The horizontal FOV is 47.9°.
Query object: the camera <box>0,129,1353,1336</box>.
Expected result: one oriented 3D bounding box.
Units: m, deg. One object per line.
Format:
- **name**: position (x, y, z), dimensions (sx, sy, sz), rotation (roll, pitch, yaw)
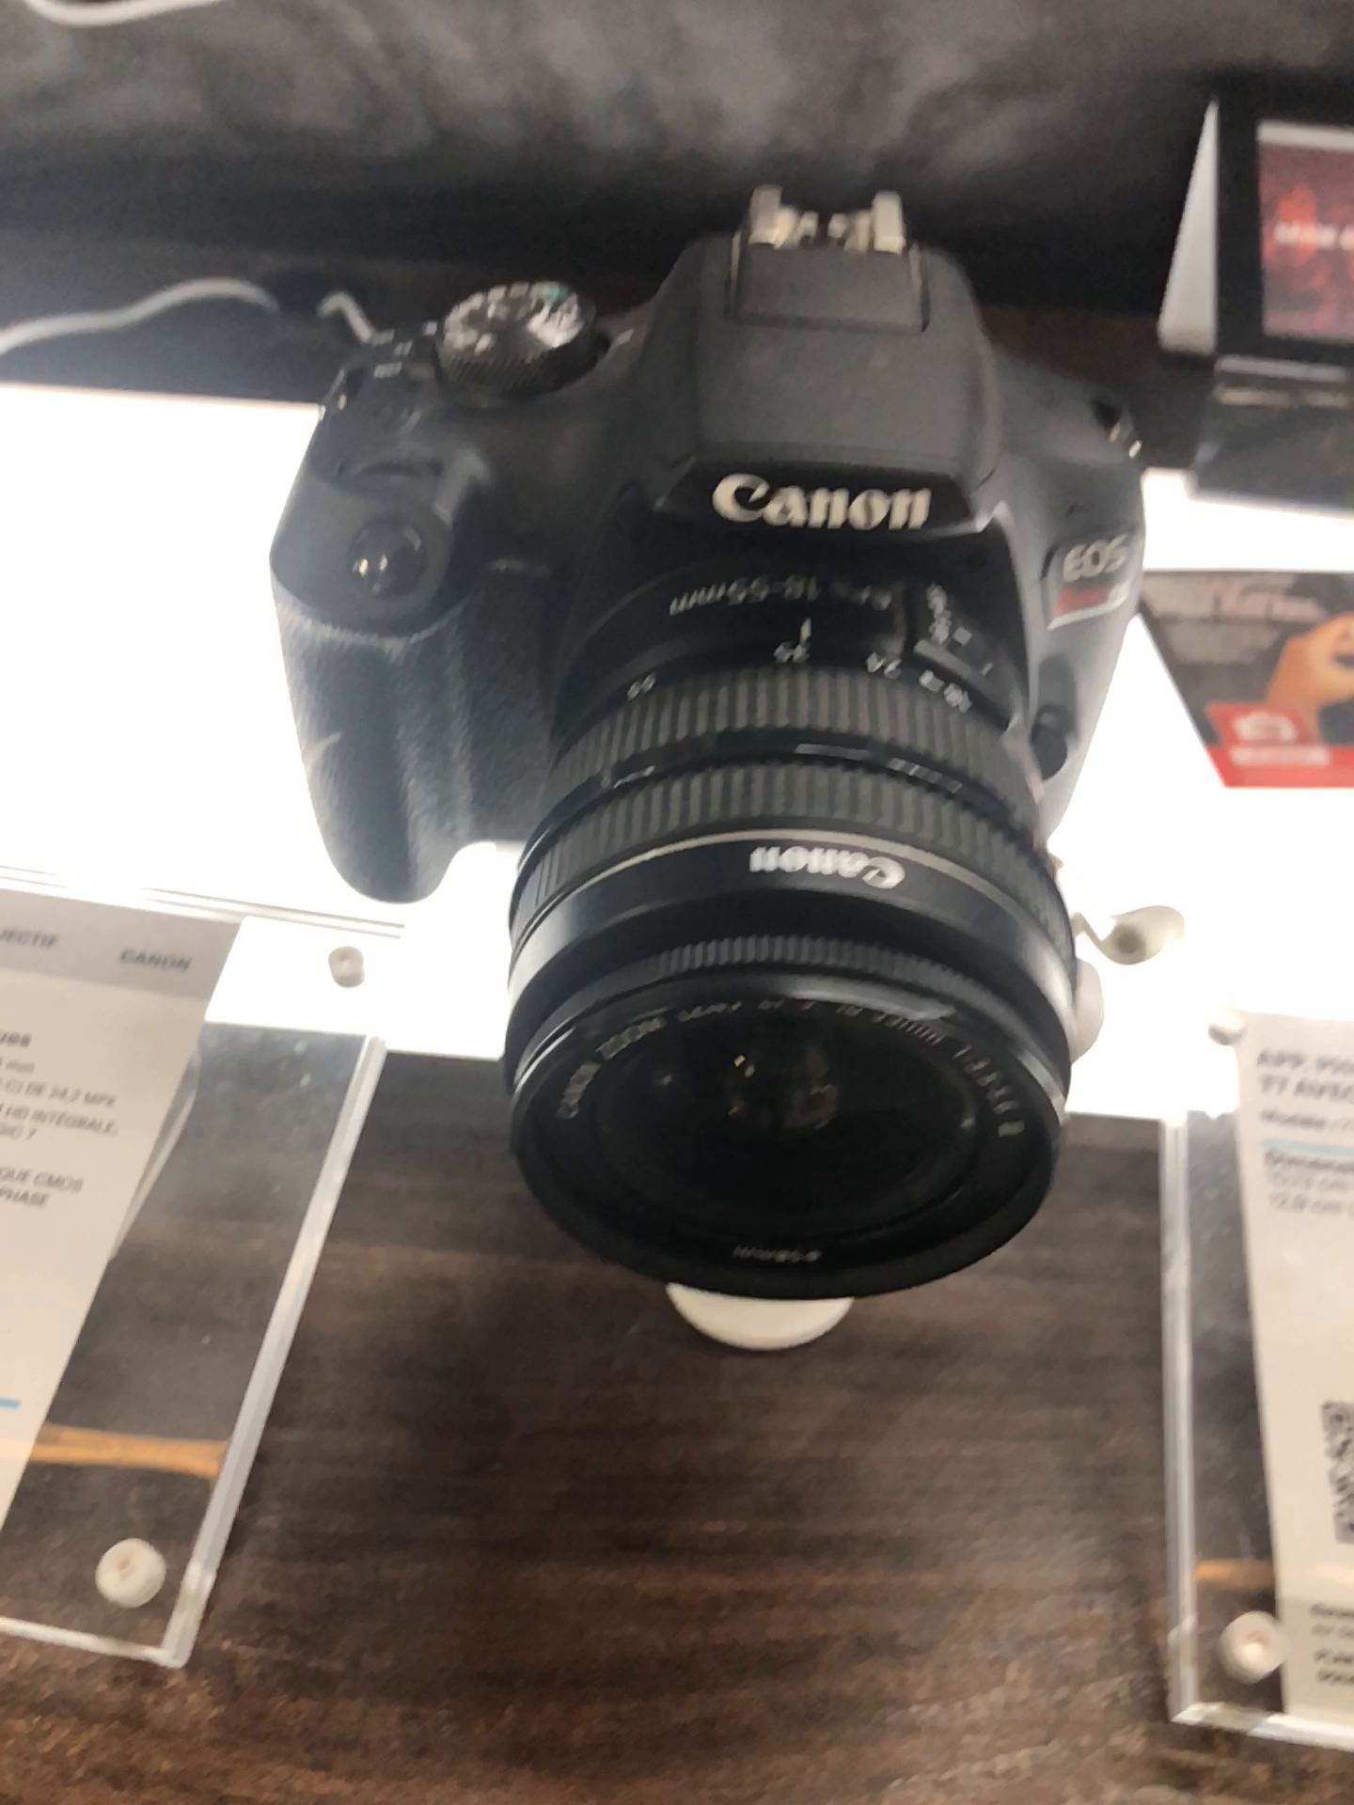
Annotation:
- **camera**: position (0.007, -0.026, 0.192), dimensions (0.128, 0.099, 0.112), rotation (3, 40, 1)
